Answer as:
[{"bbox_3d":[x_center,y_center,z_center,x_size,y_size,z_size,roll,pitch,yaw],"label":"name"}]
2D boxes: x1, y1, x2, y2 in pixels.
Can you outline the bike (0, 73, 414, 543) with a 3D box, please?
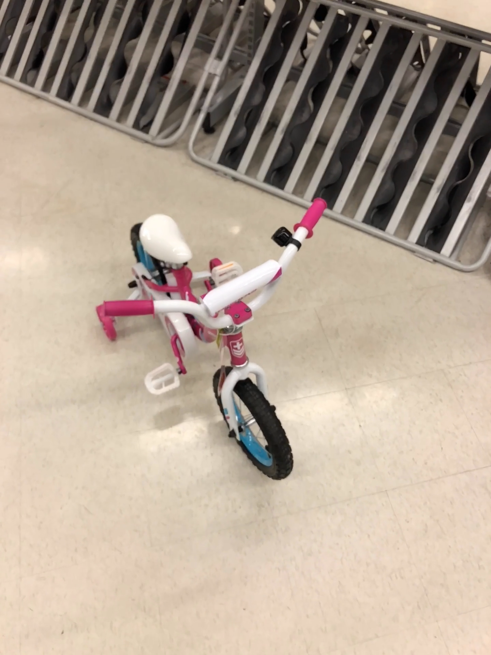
[{"bbox_3d":[-0.141,-0.066,1.270,0.461,0.625,0.817,-25,56,-19],"label":"bike"}]
